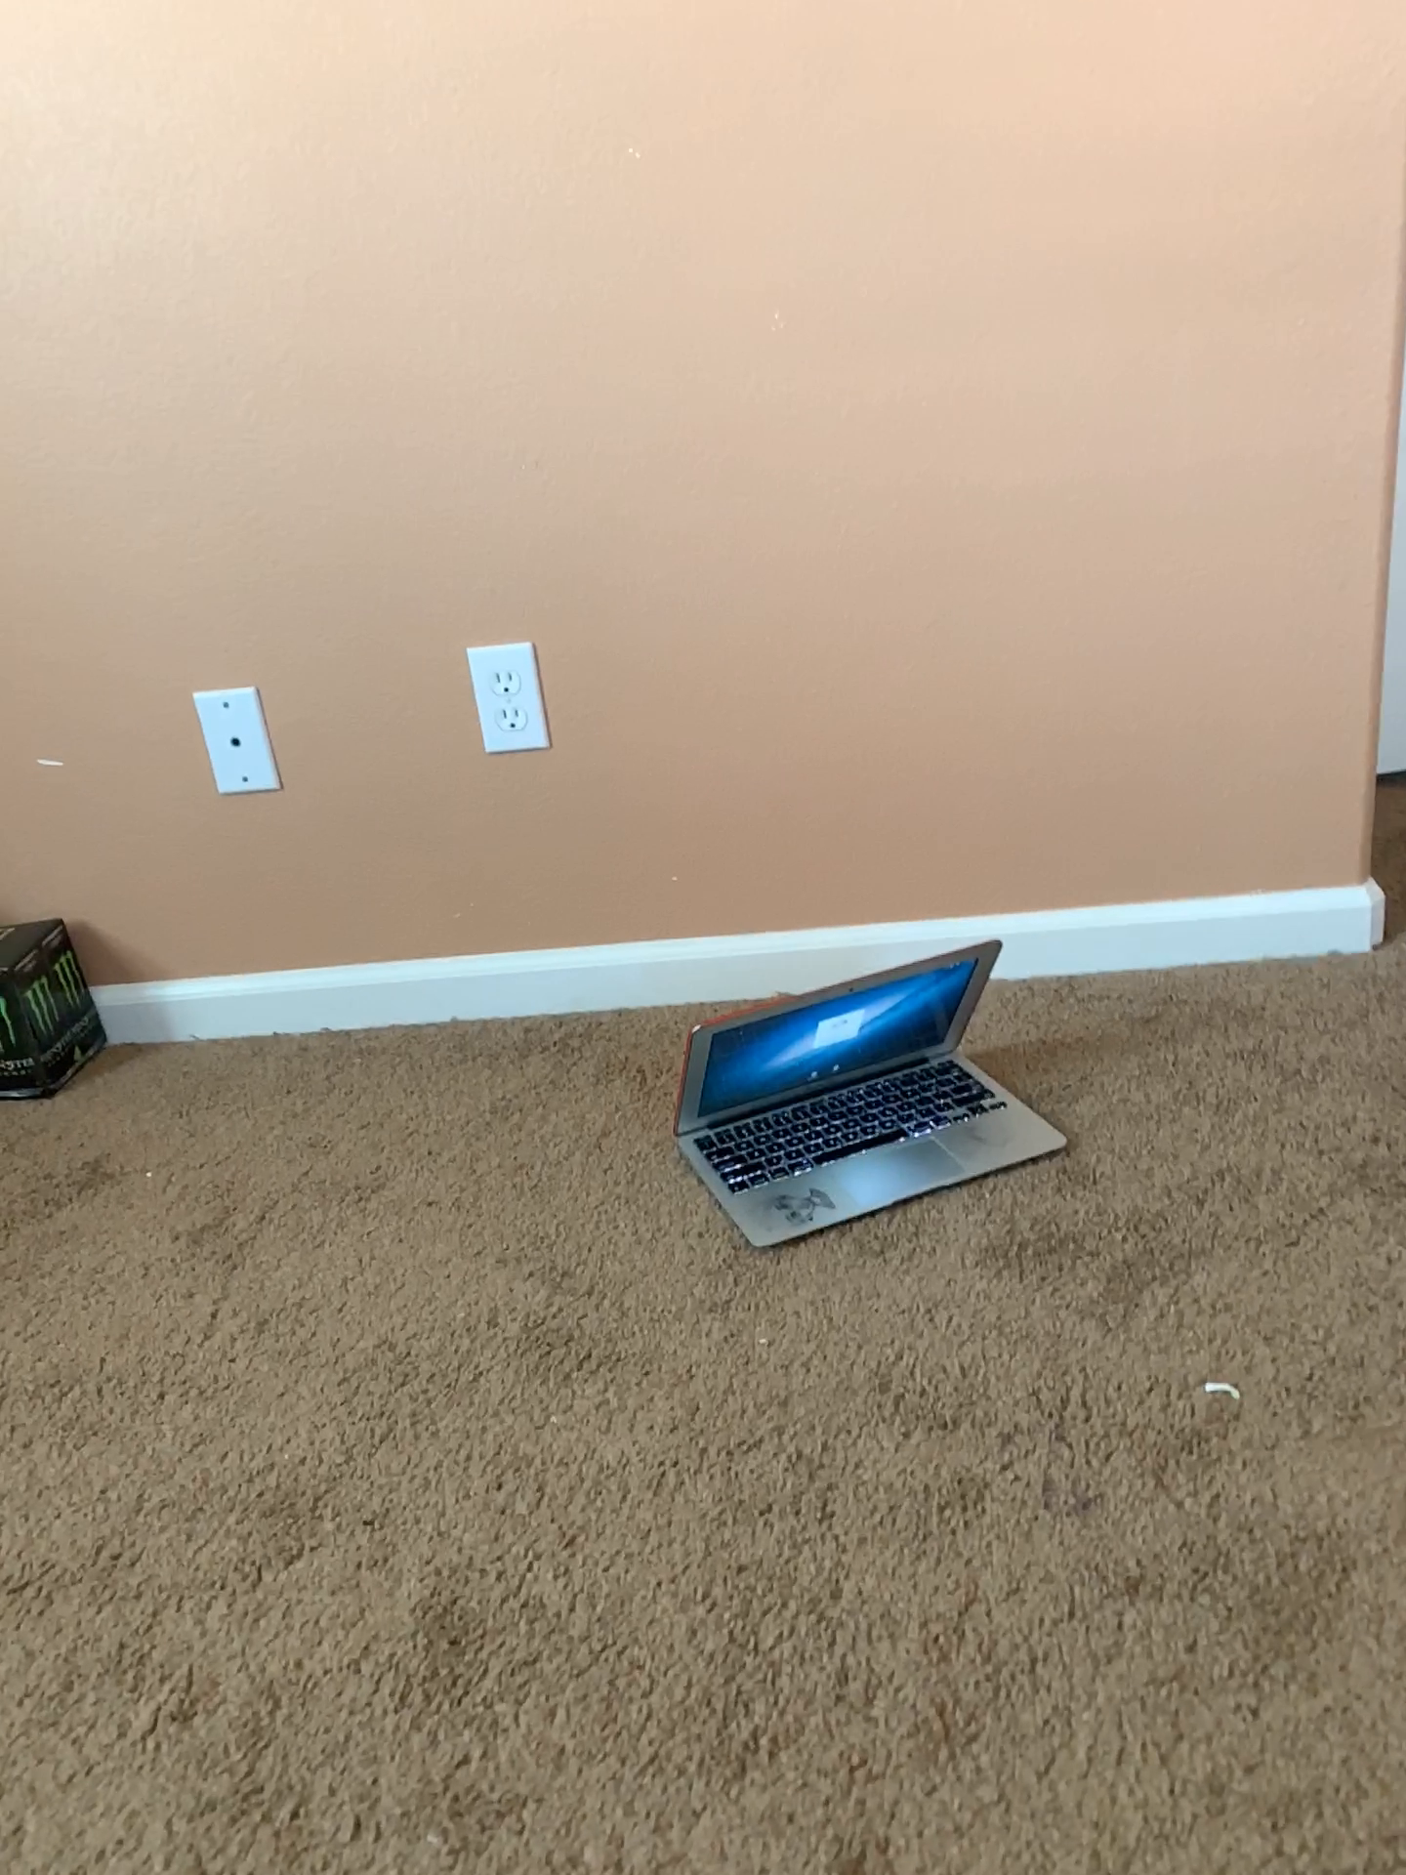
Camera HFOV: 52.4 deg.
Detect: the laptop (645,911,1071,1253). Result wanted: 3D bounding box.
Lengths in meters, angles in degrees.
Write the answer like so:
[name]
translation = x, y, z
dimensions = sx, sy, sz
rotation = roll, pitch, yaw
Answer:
[laptop]
translation = 0.131, 0.112, 1.228
dimensions = 0.298, 0.148, 0.194
rotation = -15, 24, -17
